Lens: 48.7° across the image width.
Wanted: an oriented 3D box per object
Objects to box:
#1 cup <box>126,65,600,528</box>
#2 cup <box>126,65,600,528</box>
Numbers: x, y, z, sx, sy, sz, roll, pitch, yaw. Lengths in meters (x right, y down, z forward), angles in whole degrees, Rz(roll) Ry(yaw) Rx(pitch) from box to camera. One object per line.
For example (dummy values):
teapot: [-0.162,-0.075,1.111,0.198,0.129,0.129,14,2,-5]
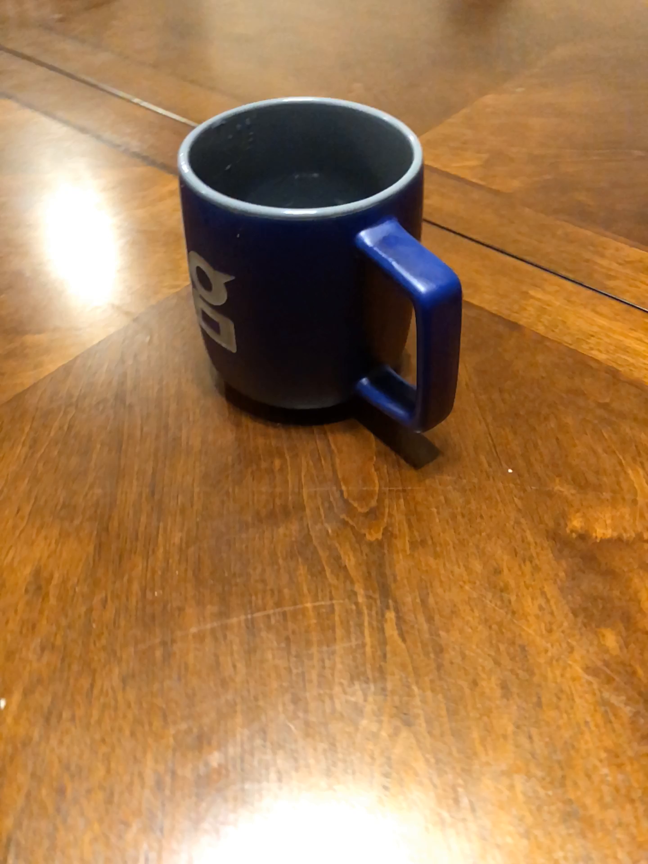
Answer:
cup: [0.008,-0.062,0.289,0.100,0.099,0.141,-30,55,-25]
cup: [0.008,-0.062,0.289,0.100,0.099,0.141,-30,55,-25]
